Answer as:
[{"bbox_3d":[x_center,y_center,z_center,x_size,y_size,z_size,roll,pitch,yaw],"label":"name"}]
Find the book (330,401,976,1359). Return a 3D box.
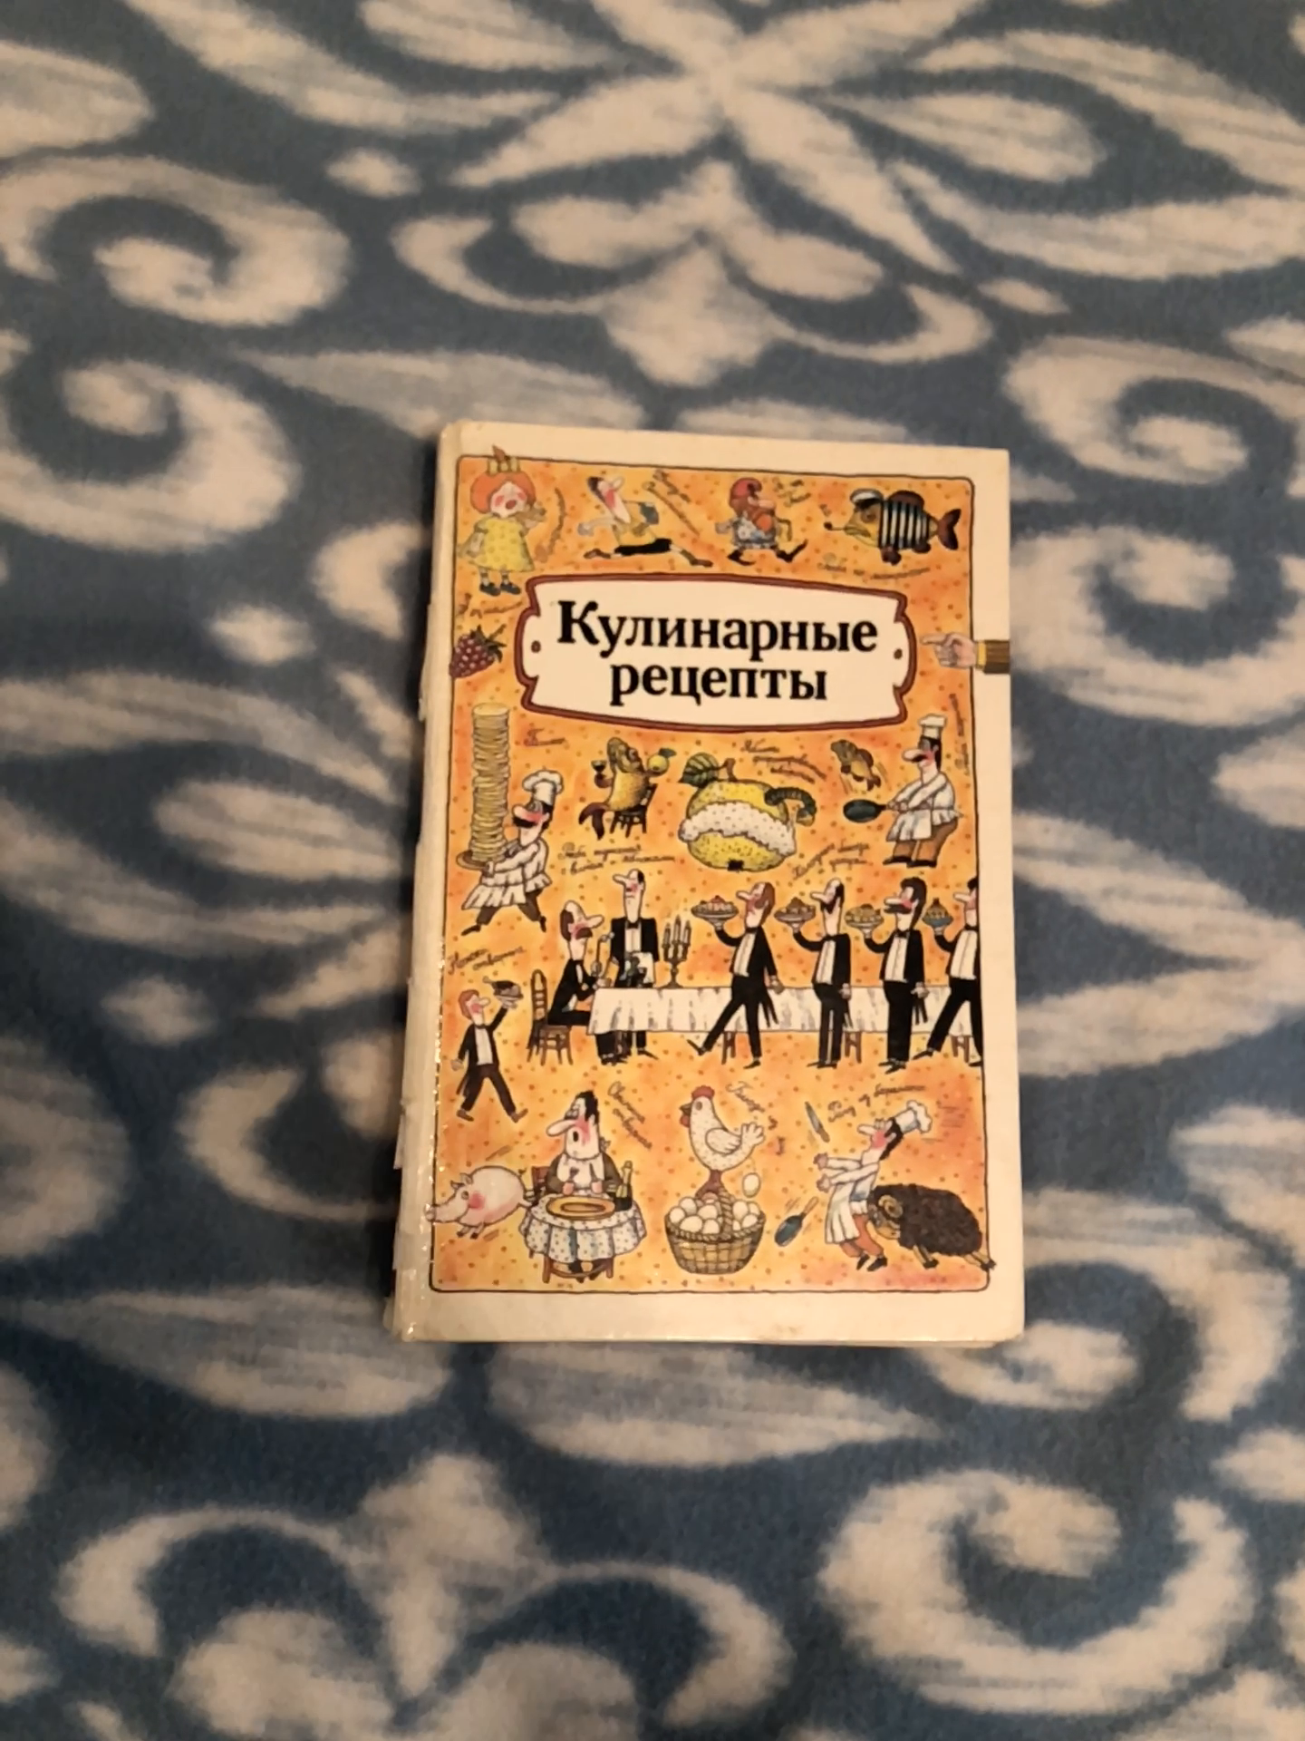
[{"bbox_3d":[0.001,0.001,0.350,0.141,0.032,0.220,1,81,-4],"label":"book"}]
